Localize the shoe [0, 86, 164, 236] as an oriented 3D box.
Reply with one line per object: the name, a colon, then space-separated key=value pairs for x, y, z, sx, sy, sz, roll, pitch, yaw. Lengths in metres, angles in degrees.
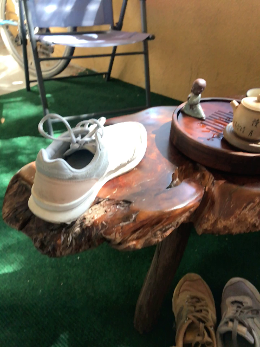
shoe: x=-0.059 y=-0.041 z=0.453 sx=0.102 sy=0.091 sz=0.265 roll=25 pitch=45 yaw=25
